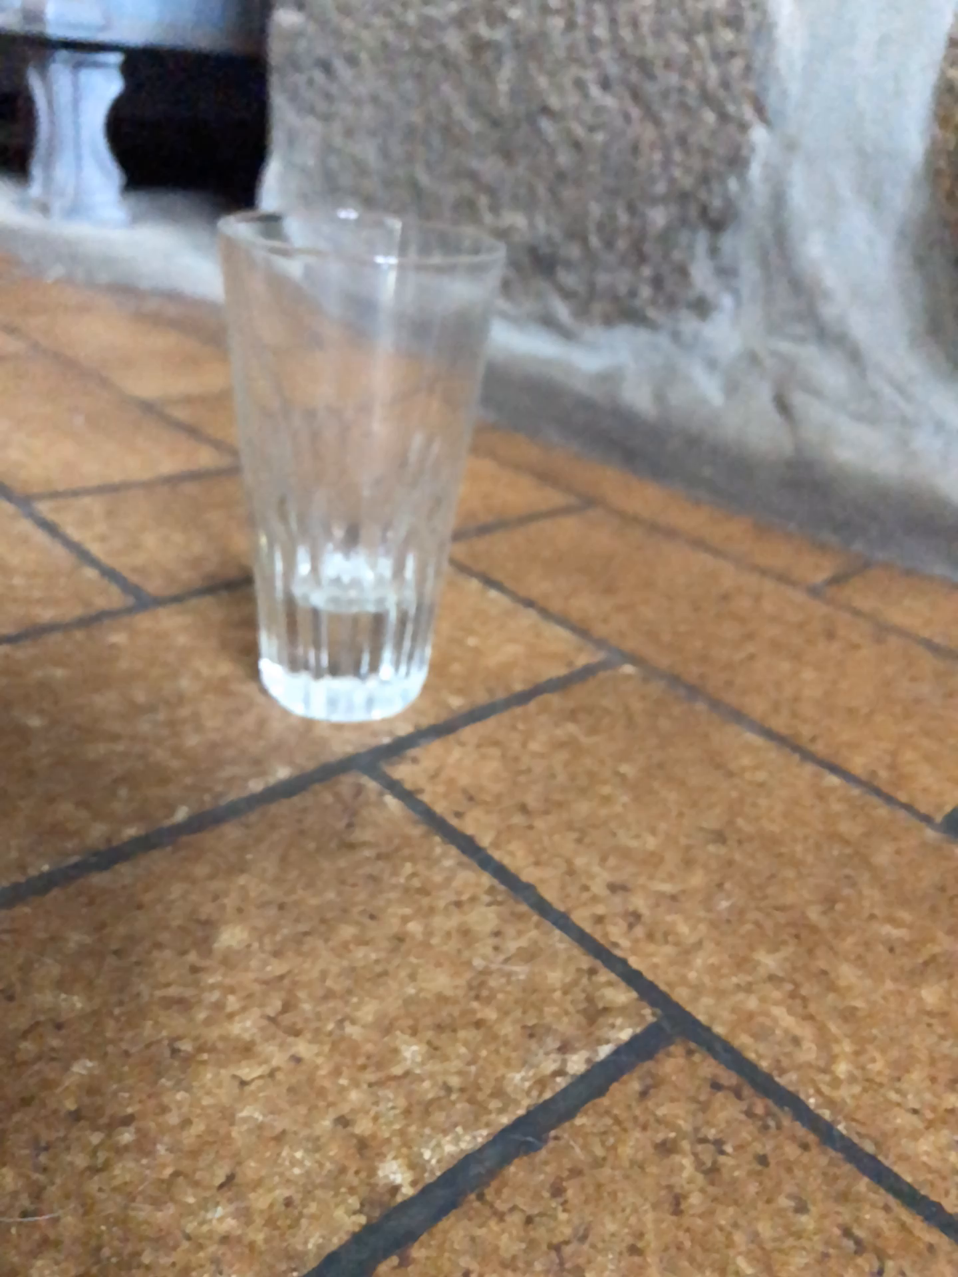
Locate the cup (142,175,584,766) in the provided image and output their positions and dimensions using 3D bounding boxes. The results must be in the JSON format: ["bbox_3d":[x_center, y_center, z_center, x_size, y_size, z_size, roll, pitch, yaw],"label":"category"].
[{"bbox_3d":[-0.030,-0.046,0.270,0.070,0.119,0.070,5,27,-3],"label":"cup"}]
